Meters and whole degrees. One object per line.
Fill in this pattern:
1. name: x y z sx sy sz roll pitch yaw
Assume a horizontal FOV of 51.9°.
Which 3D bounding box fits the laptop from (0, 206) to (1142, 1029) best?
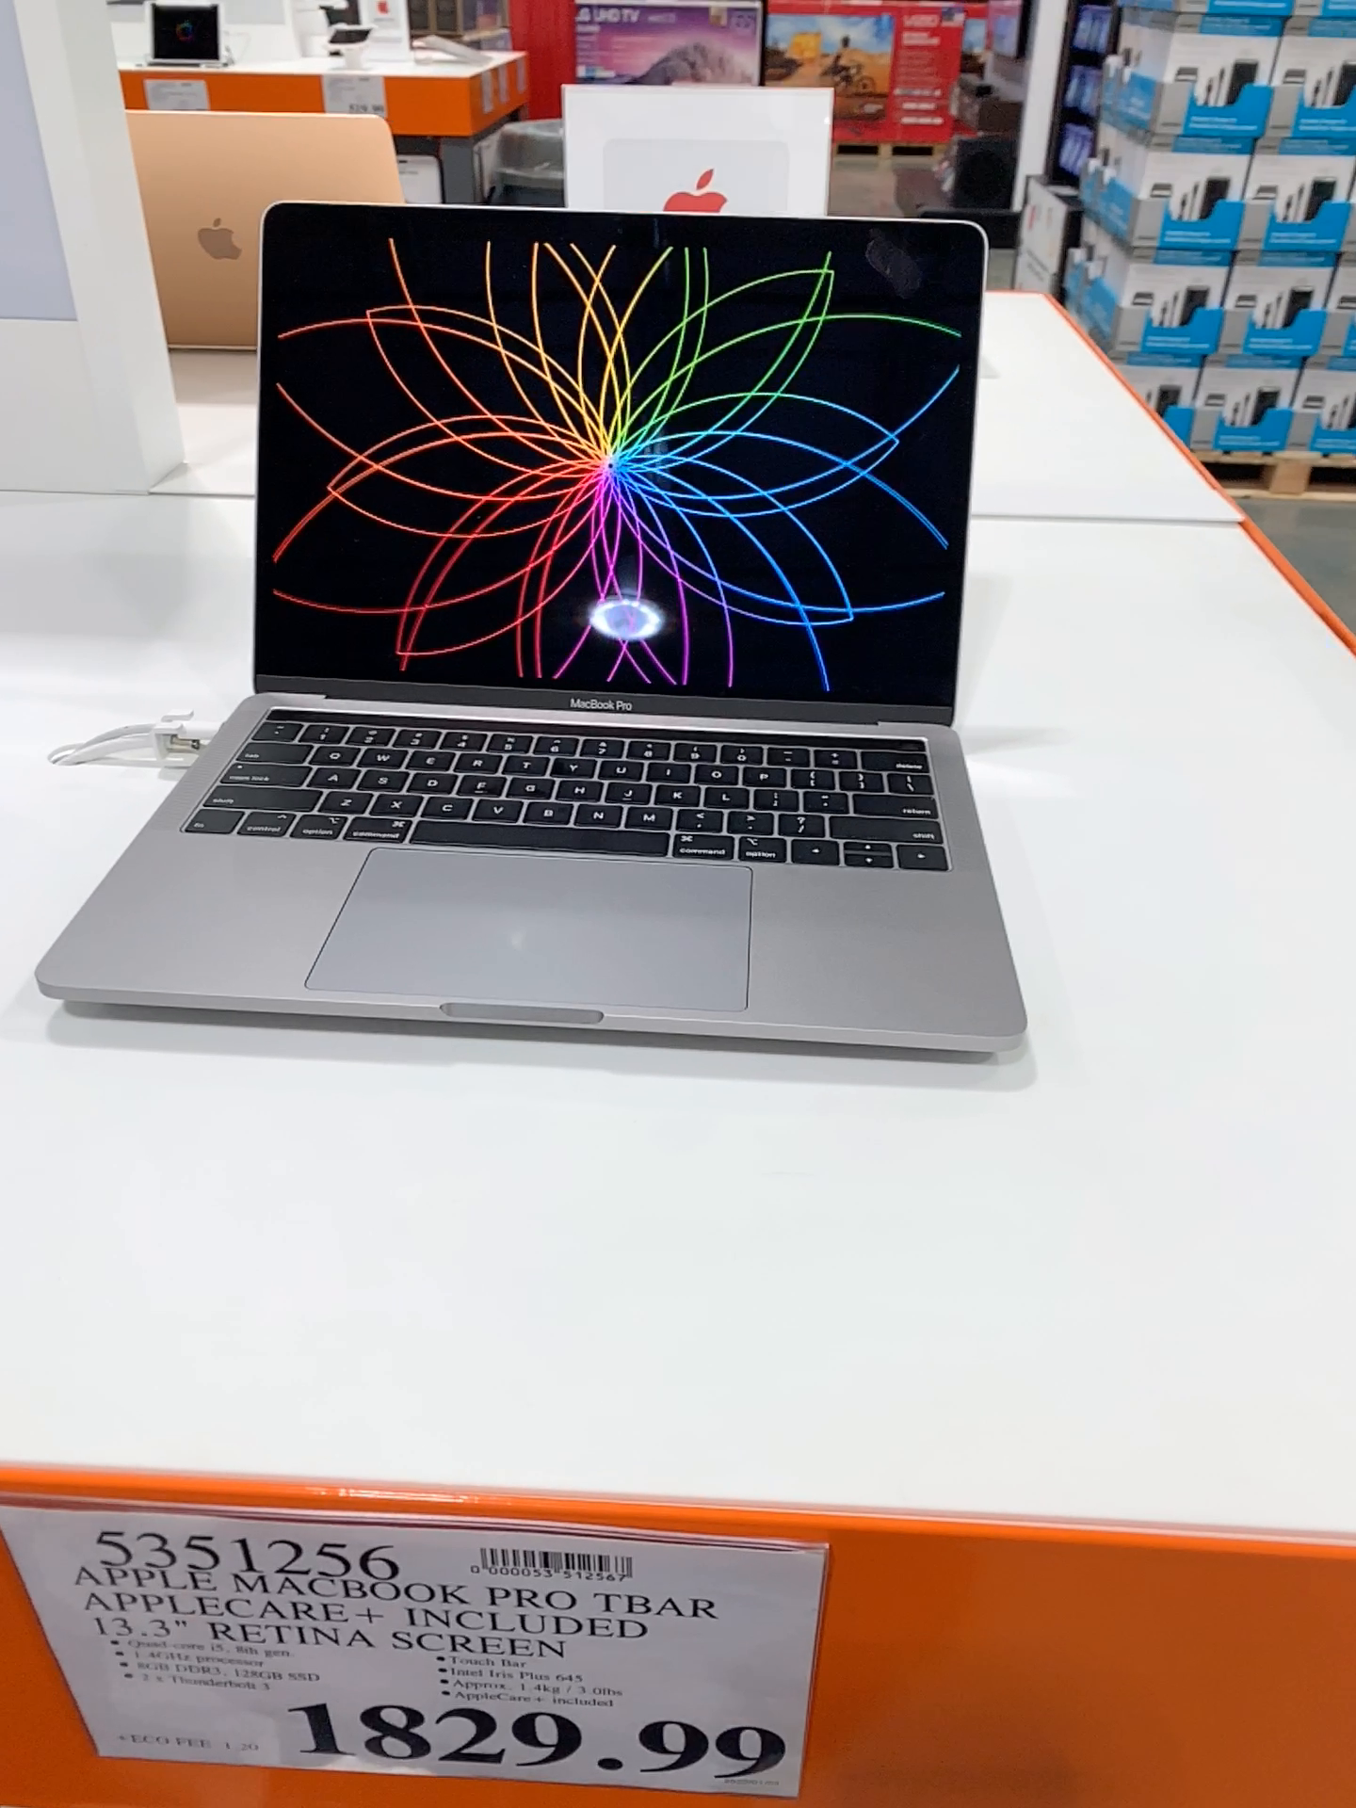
1. laptop: -0.033 -0.126 0.482 0.289 0.165 0.308 3 34 3
